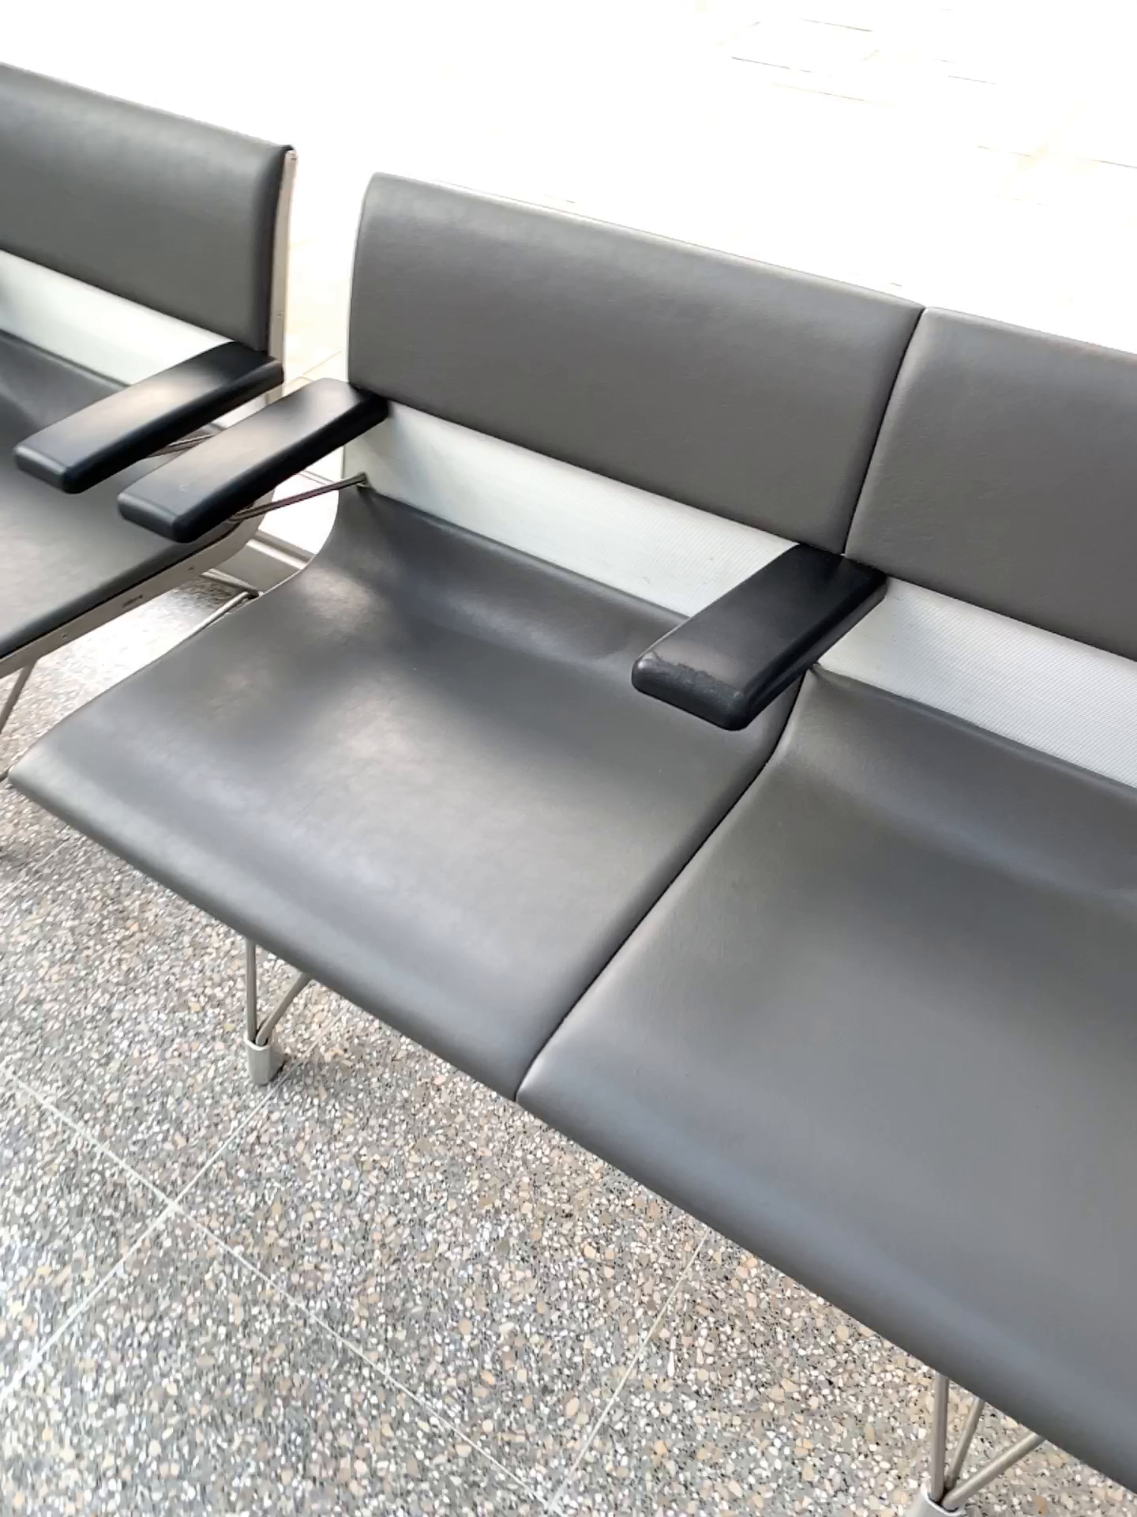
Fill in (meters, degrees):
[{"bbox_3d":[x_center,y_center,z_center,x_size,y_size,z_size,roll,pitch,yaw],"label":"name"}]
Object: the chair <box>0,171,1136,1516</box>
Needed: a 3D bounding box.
[{"bbox_3d":[0.163,0.038,1.169,1.204,0.714,0.825,26,53,24],"label":"chair"}]
